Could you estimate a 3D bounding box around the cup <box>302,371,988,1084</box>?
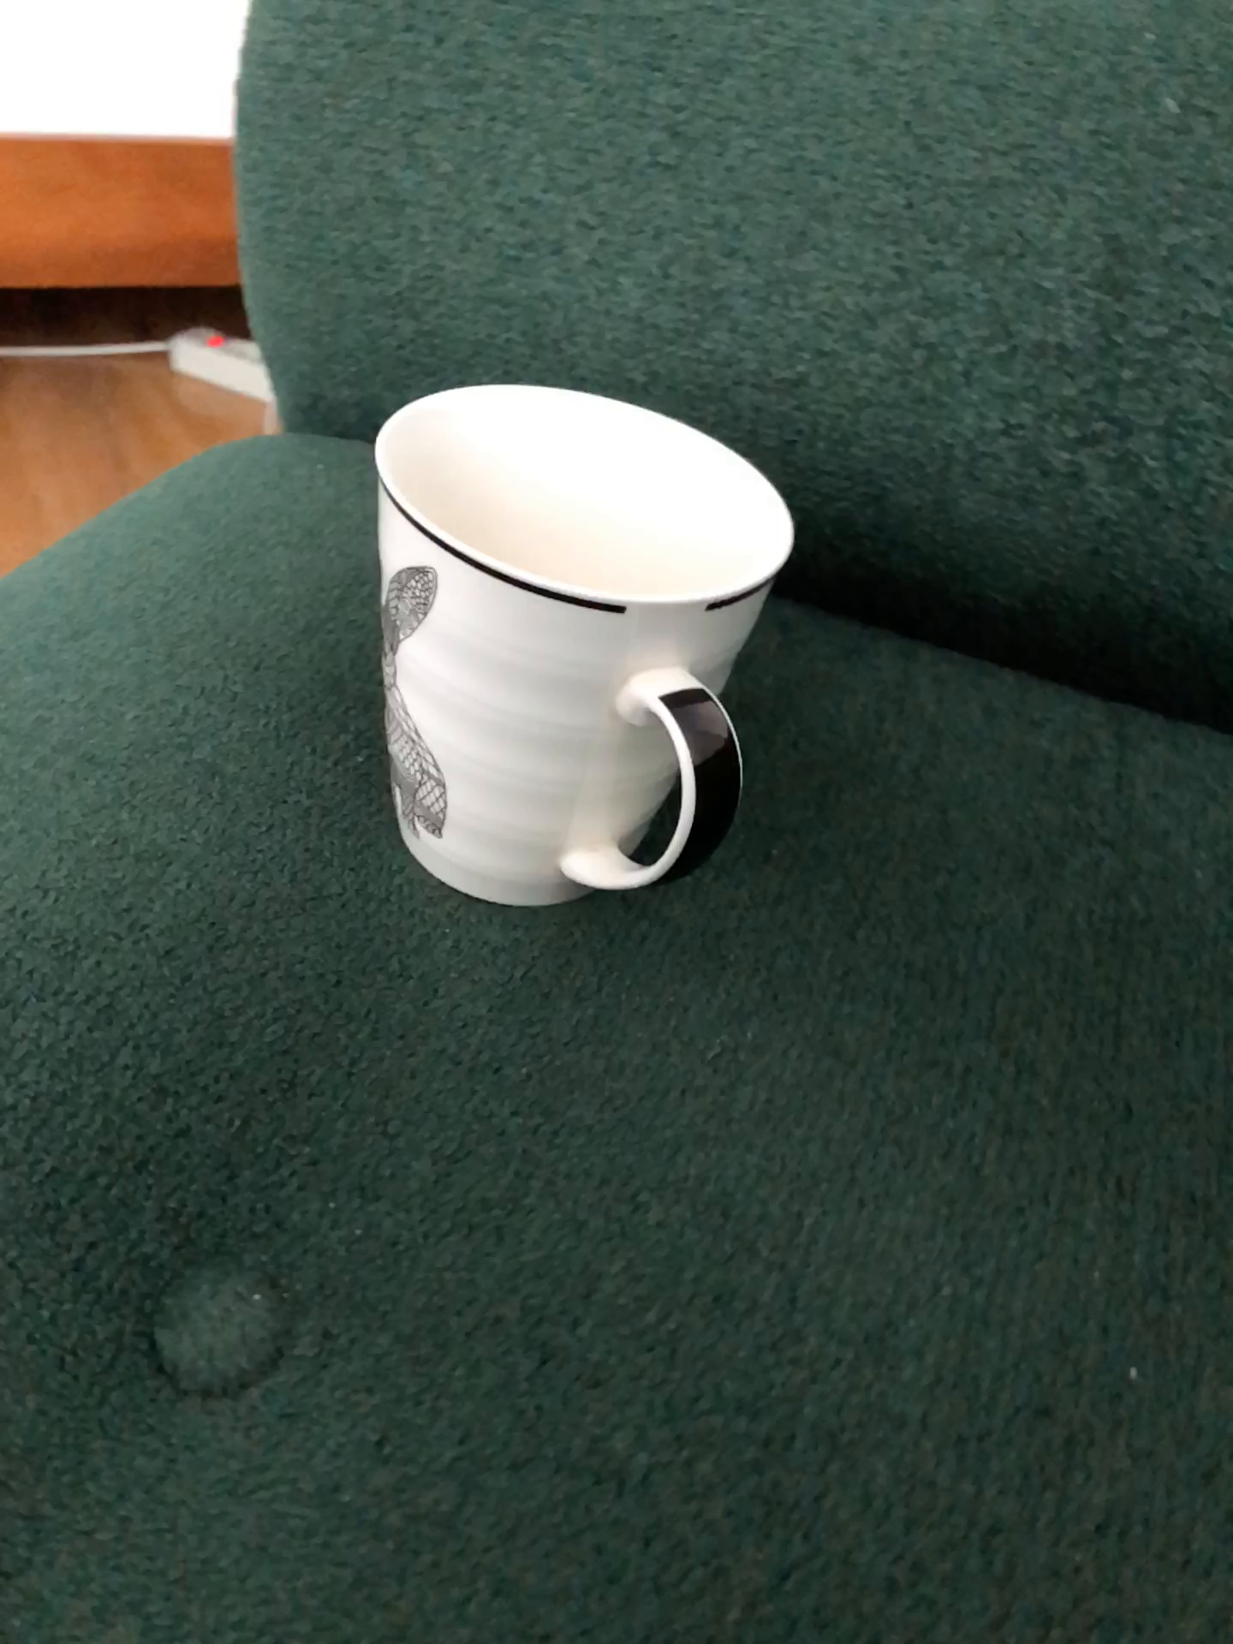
[{"bbox_3d":[-0.005,-0.029,0.313,0.095,0.095,0.121,-14,46,-28],"label":"cup"}]
